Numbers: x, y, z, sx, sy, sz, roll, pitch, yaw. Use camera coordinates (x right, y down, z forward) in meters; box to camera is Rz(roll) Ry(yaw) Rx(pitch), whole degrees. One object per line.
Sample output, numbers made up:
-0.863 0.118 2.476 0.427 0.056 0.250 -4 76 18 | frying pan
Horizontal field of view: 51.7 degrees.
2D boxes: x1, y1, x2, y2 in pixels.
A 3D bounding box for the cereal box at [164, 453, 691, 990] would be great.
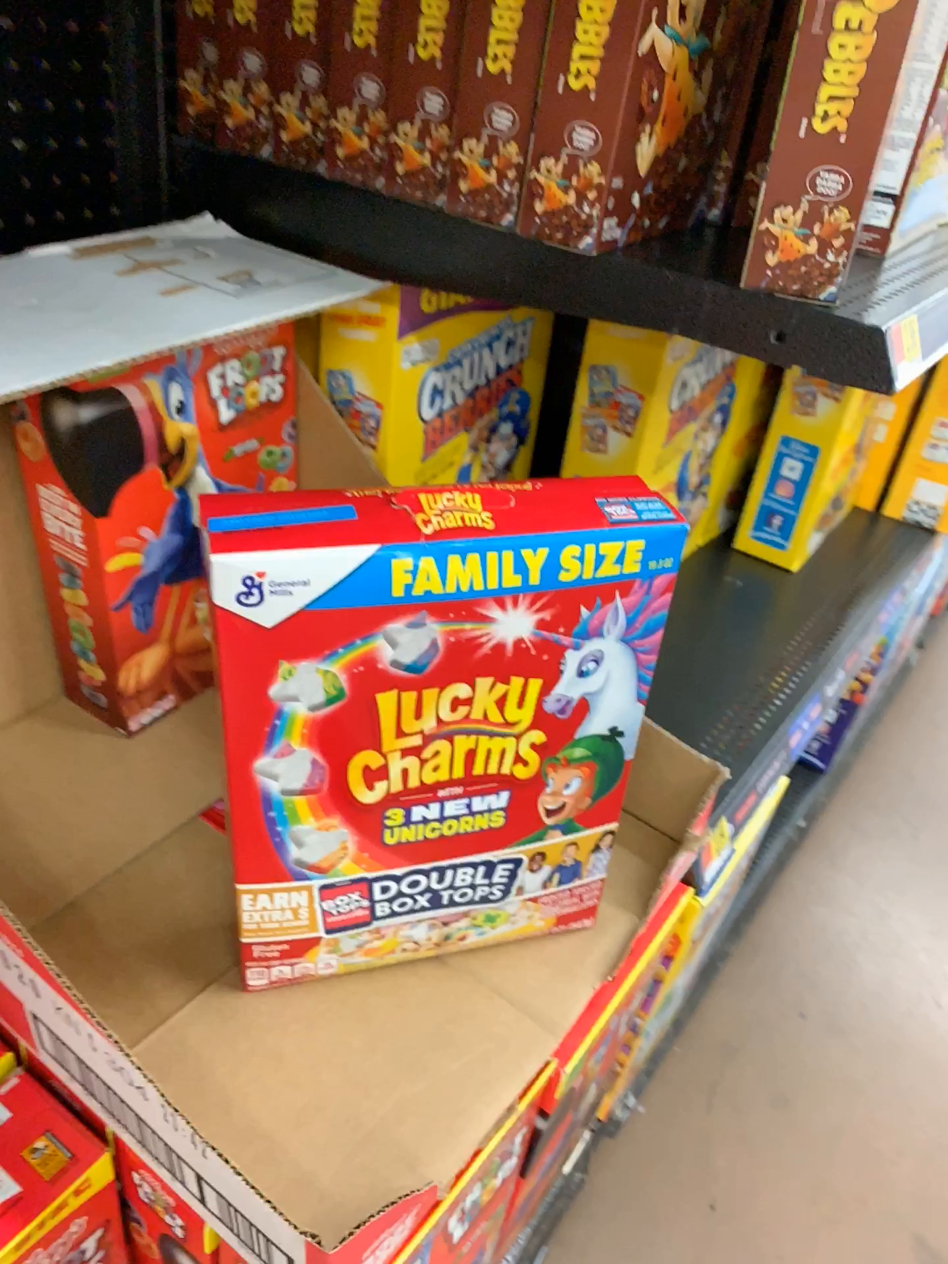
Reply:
-0.031 0.055 0.523 0.230 0.289 0.060 -6 37 -16 | cereal box
